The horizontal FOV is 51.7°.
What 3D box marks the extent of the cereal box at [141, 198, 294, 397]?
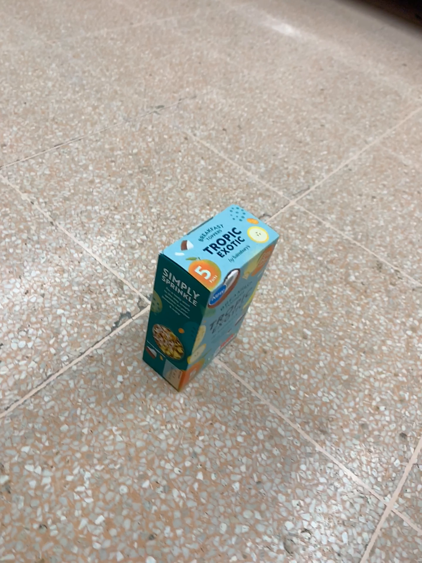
[{"bbox_3d":[0.001,0.018,0.407,0.060,0.149,0.111,37,51,18],"label":"cereal box"}]
